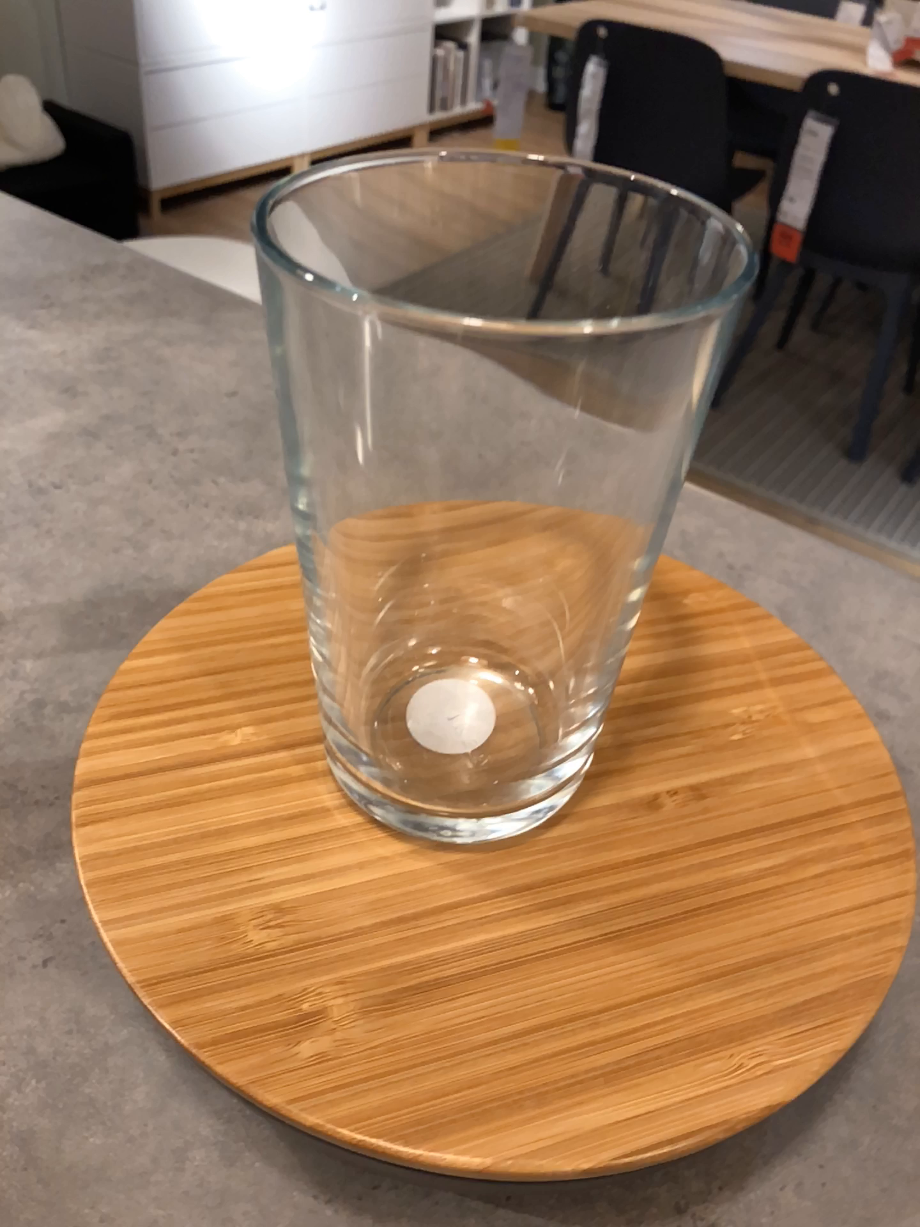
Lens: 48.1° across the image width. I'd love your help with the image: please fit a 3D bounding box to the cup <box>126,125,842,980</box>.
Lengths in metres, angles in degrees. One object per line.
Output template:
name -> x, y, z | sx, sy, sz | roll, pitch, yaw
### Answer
cup -> 0.005, -0.018, 0.235 | 0.100, 0.139, 0.100 | 4, 38, -3
